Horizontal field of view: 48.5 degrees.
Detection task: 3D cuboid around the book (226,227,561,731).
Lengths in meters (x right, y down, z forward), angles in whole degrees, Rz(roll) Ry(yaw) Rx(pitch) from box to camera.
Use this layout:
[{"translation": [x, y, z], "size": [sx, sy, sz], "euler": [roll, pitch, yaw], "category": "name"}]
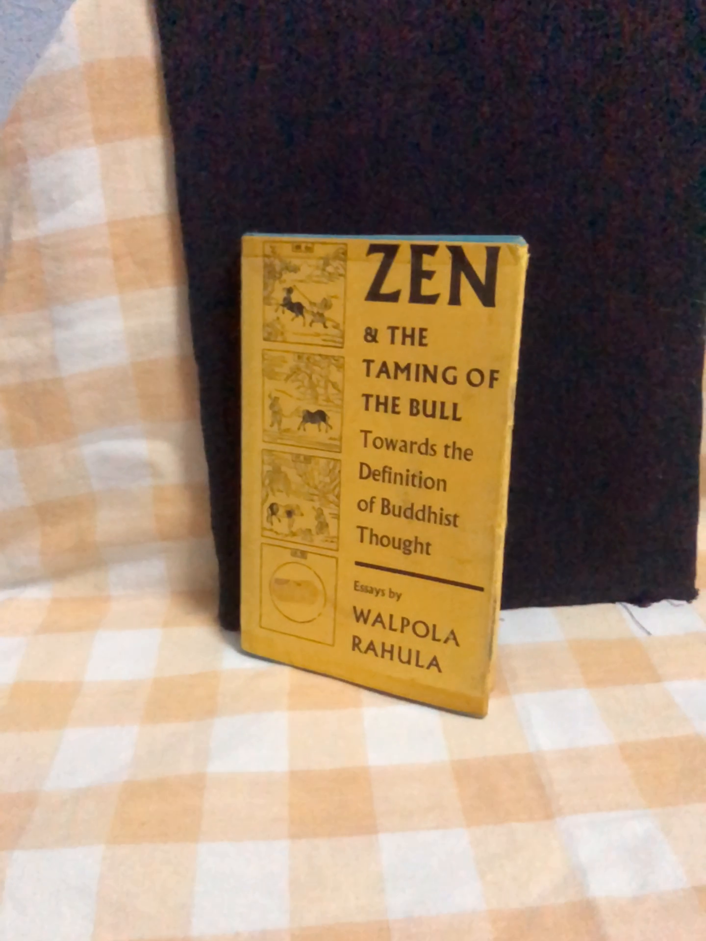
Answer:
[{"translation": [0.010, 0.001, 0.359], "size": [0.140, 0.209, 0.030], "euler": [9, 17, 22], "category": "book"}]
